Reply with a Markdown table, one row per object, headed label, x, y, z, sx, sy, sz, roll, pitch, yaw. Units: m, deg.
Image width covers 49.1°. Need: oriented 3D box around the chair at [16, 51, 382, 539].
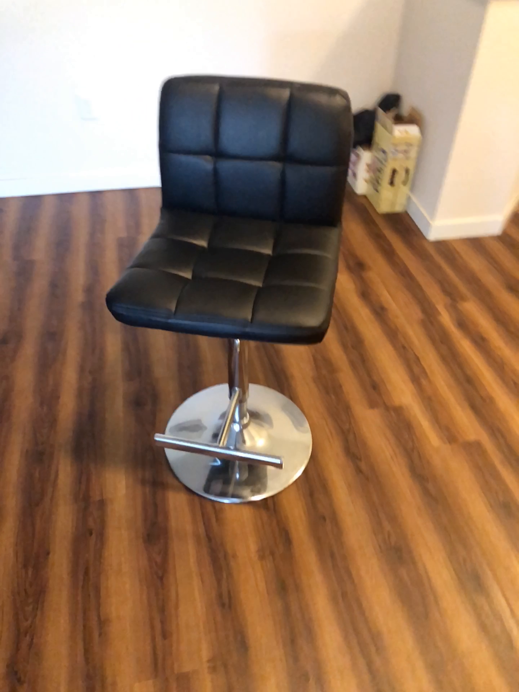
| label | x | y | z | sx | sy | sz | roll | pitch | yaw |
| --- | --- | --- | --- | --- | --- | --- | --- | --- | --- |
| chair | -0.067 | -0.092 | 1.368 | 0.534 | 0.952 | 0.571 | 9 | 42 | 8 |
